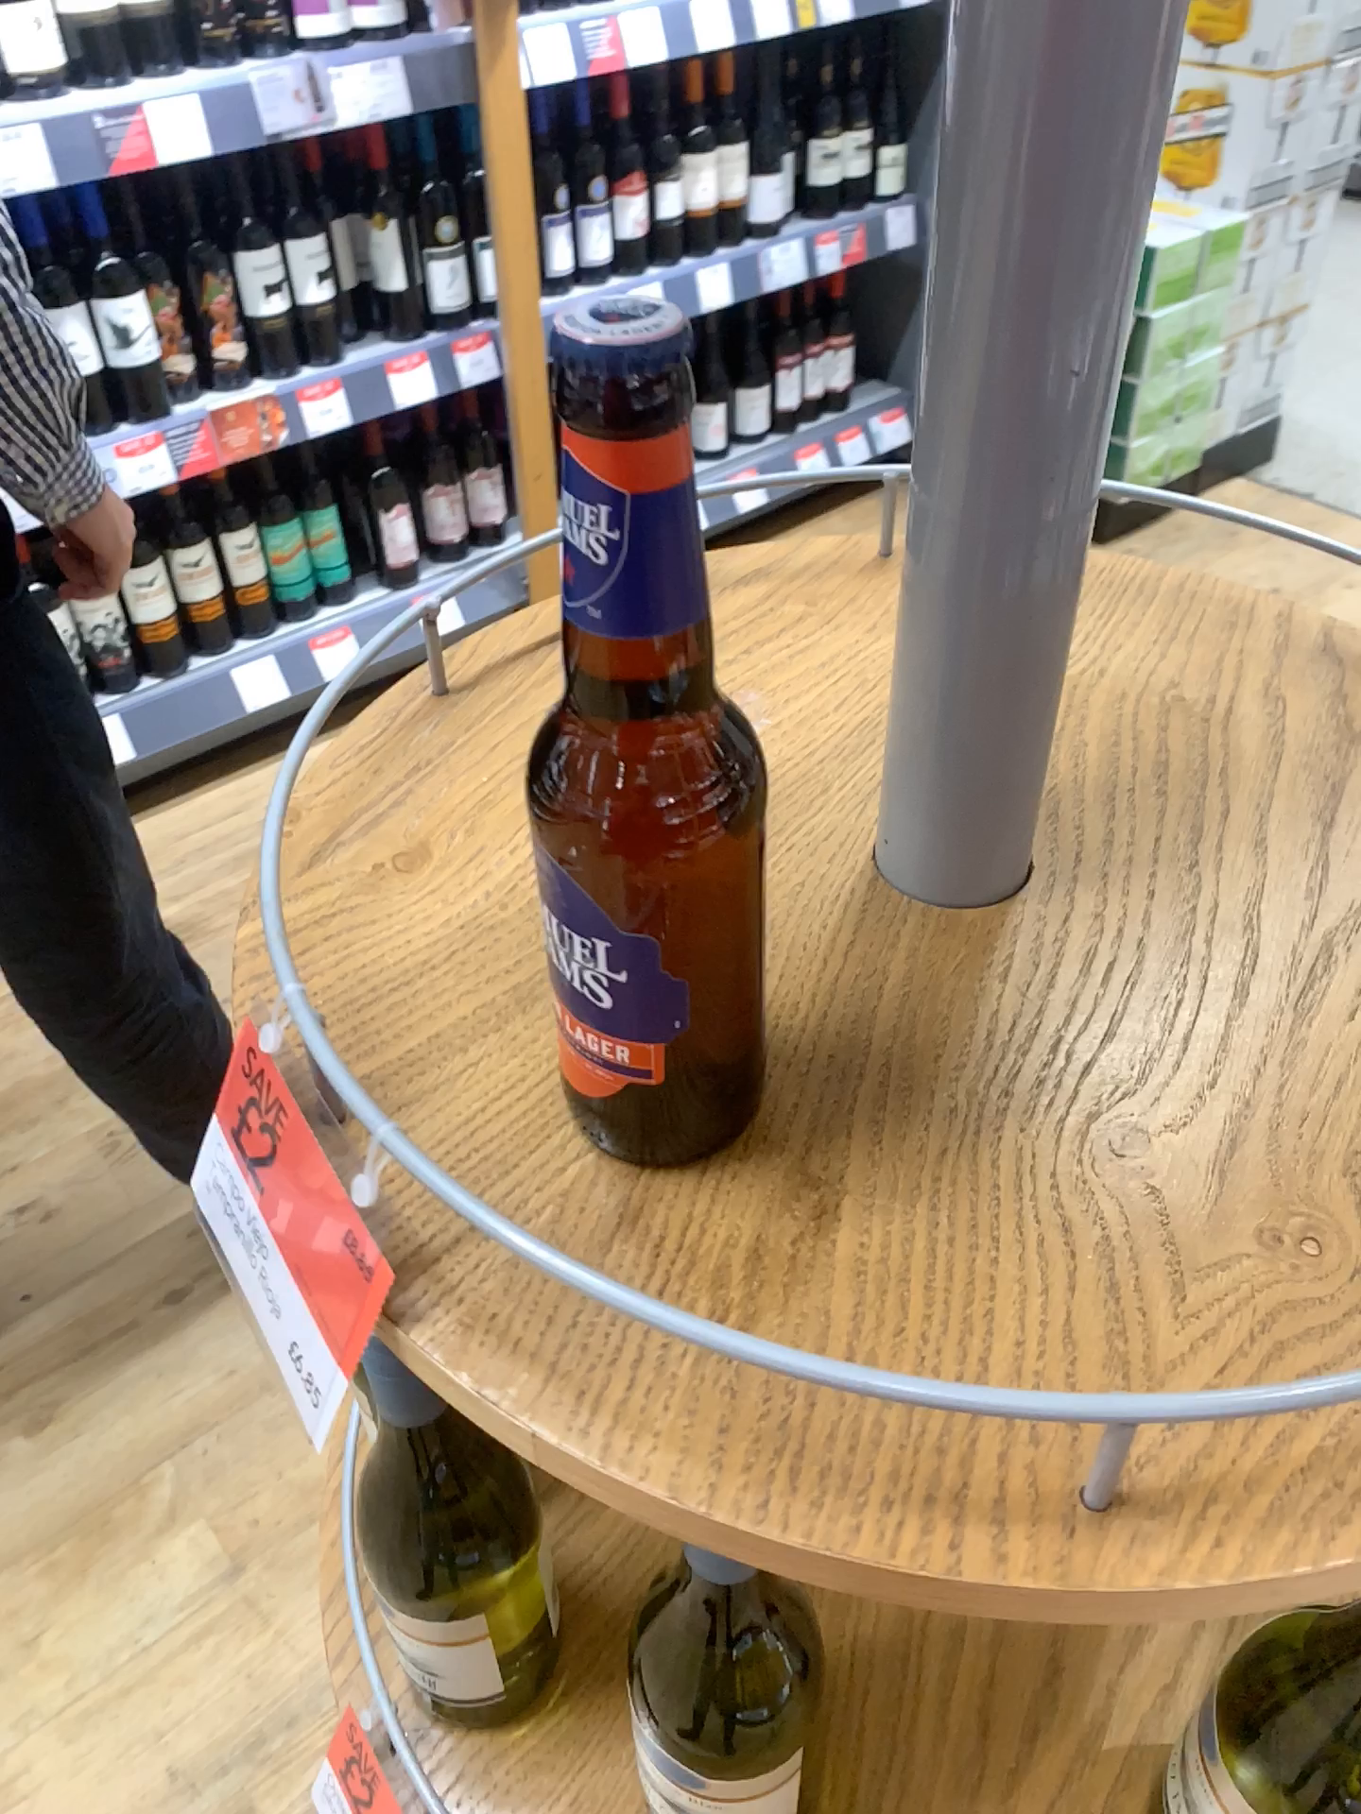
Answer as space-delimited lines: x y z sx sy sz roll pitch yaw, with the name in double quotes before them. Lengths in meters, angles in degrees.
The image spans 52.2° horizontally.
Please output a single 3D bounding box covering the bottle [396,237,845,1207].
"bottle" -0.010 -0.030 0.323 0.061 0.211 0.063 -1 41 1
